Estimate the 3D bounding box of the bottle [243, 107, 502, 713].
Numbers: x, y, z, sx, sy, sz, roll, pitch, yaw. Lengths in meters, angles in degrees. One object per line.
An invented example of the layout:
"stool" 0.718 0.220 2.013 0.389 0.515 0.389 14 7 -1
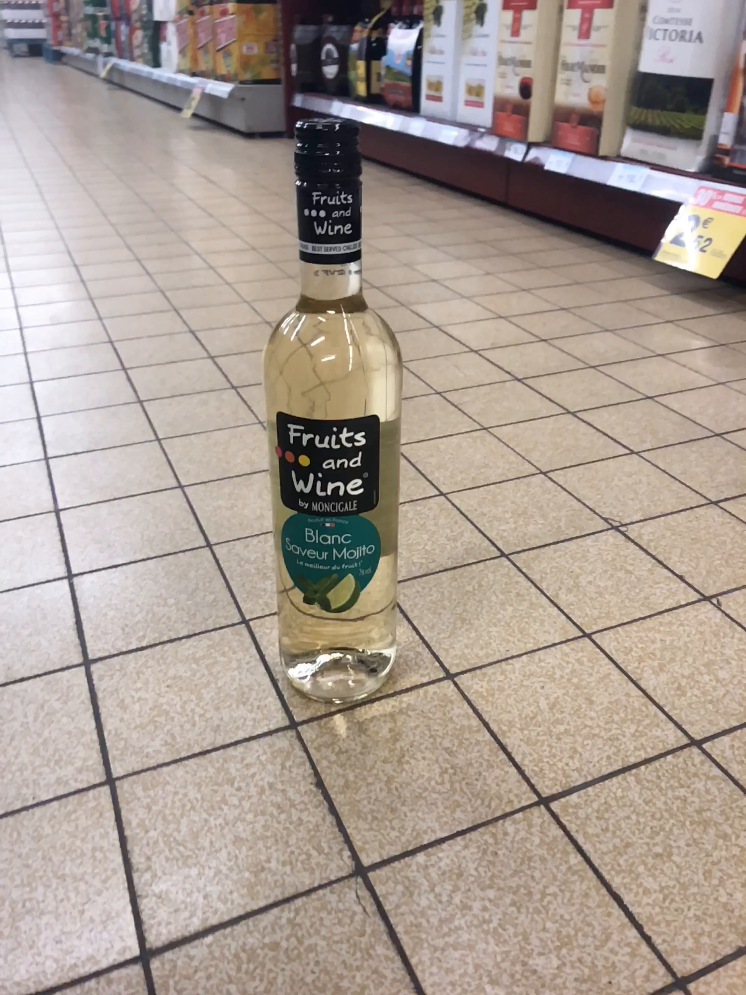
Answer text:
"bottle" -0.004 -0.035 0.426 0.100 0.298 0.091 -1 29 -3
